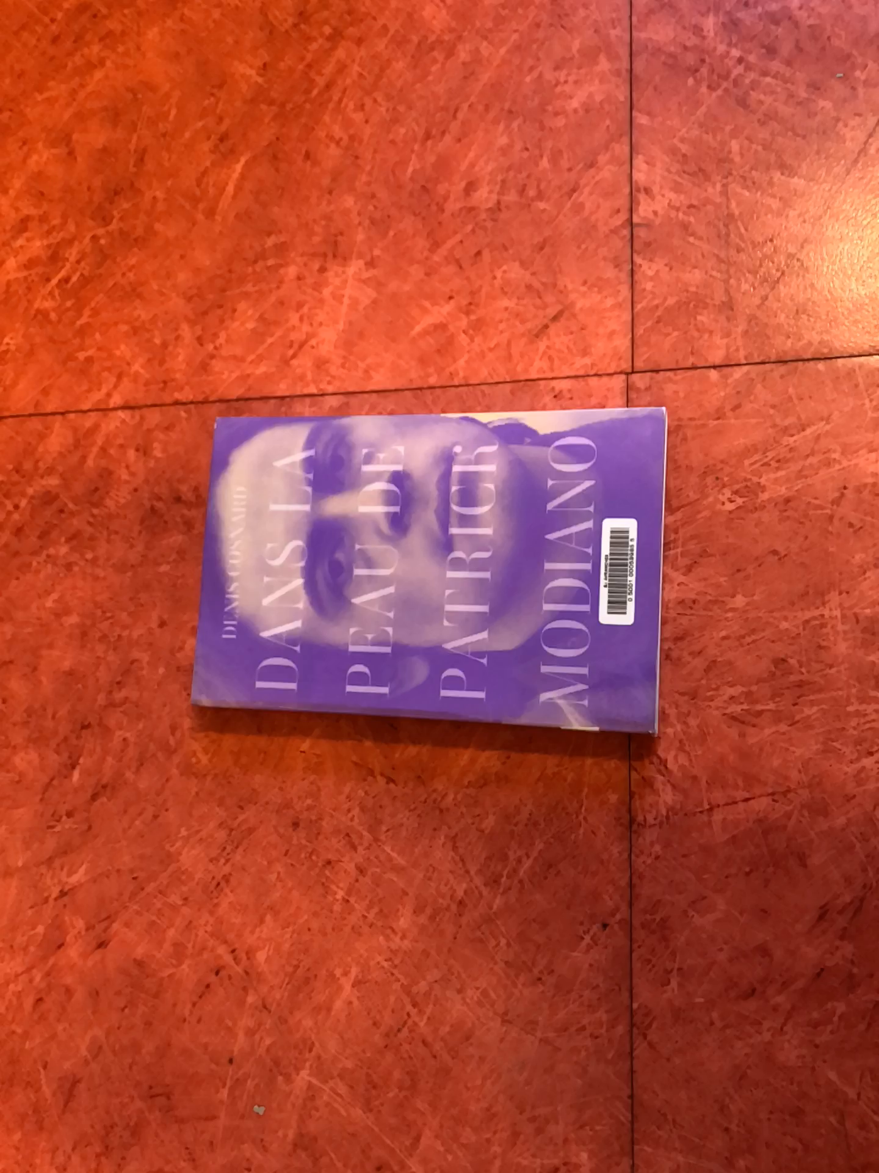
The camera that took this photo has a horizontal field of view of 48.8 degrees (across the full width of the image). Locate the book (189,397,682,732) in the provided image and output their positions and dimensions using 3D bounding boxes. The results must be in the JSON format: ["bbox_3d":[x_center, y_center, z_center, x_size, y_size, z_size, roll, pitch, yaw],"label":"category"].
[{"bbox_3d":[-0.004,-0.012,0.474,0.232,0.030,0.150,1,81,15],"label":"book"}]
